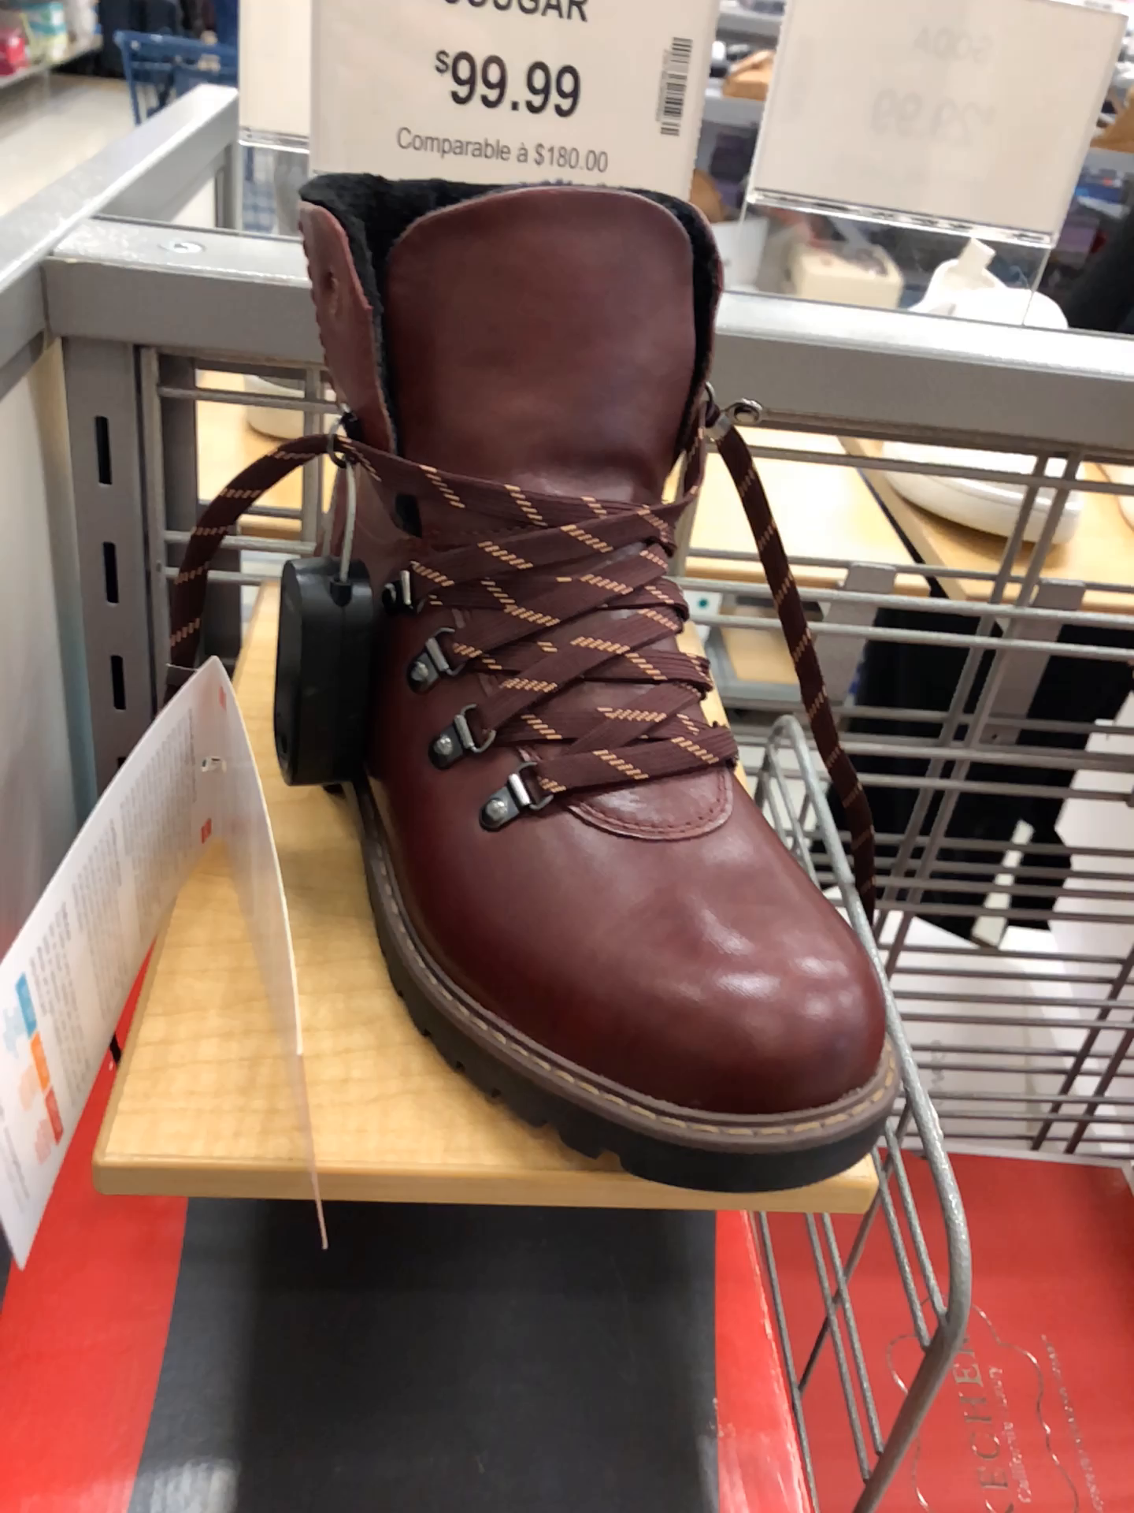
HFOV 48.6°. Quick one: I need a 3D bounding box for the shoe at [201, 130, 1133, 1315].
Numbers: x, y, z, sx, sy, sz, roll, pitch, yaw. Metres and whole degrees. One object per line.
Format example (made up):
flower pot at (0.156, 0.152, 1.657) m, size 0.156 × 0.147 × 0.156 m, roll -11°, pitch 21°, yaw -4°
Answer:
shoe at (-0.001, -0.033, 0.304) m, size 0.107 × 0.169 × 0.231 m, roll -11°, pitch 38°, yaw -28°
